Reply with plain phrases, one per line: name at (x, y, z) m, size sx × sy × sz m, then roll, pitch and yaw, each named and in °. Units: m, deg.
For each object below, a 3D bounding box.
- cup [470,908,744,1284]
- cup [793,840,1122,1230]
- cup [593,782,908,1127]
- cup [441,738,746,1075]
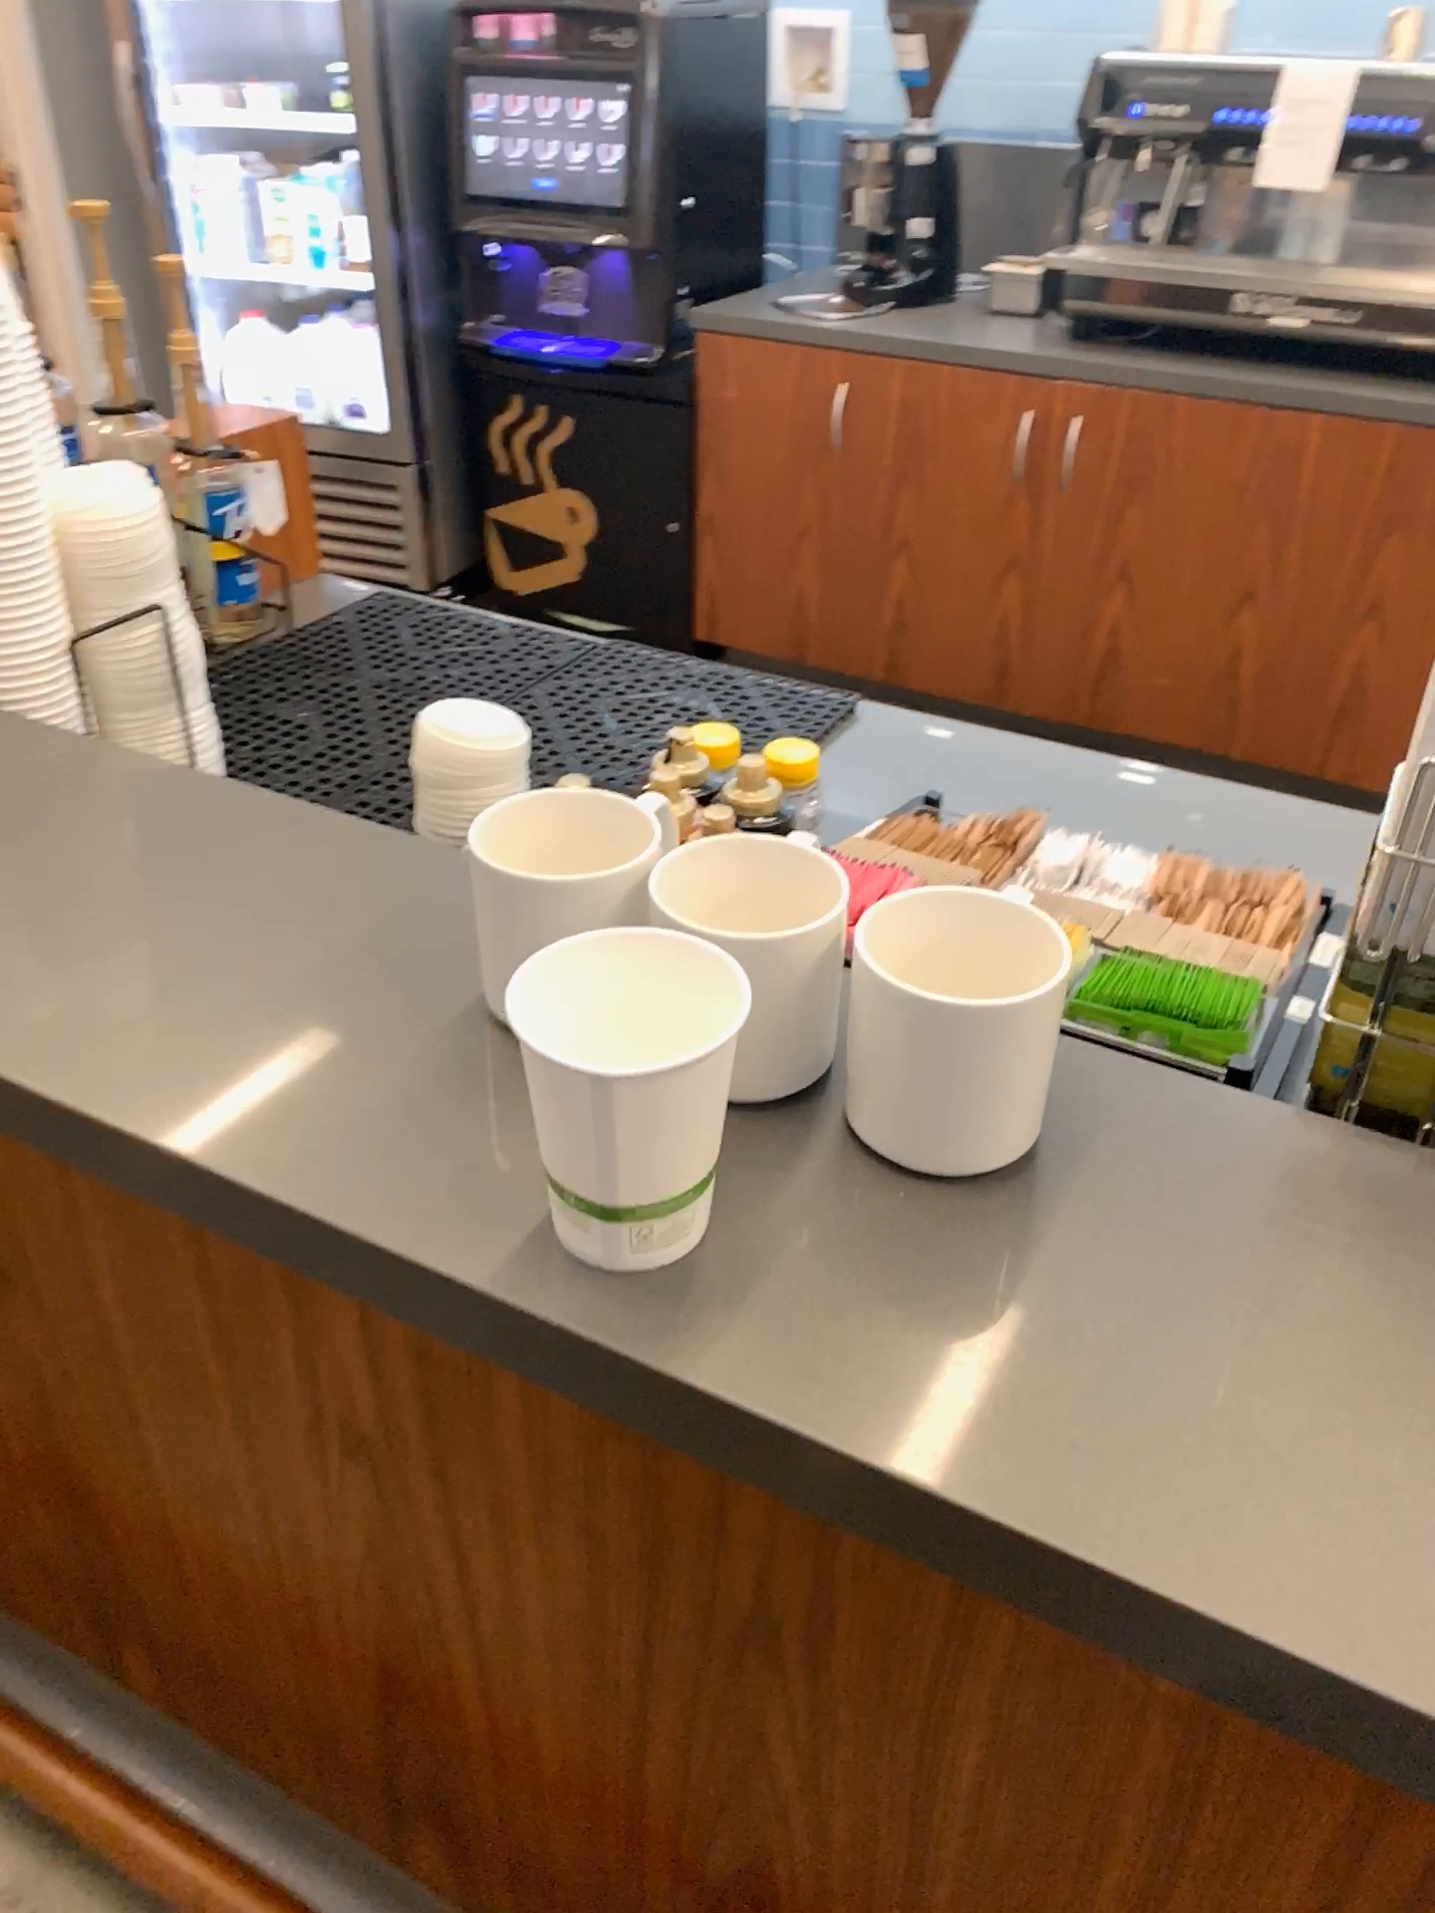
cup at (-0.042, 0.050, 0.548) m, size 0.090 × 0.099 × 0.091 m, roll 1°, pitch 33°, yaw -1°
cup at (0.100, 0.029, 0.623) m, size 0.090 × 0.099 × 0.110 m, roll 20°, pitch 38°, yaw 26°
cup at (0.015, -0.005, 0.656) m, size 0.090 × 0.089 × 0.110 m, roll 21°, pitch 38°, yaw 27°
cup at (-0.056, -0.027, 0.697) m, size 0.090 × 0.099 × 0.110 m, roll 21°, pitch 38°, yaw 27°
